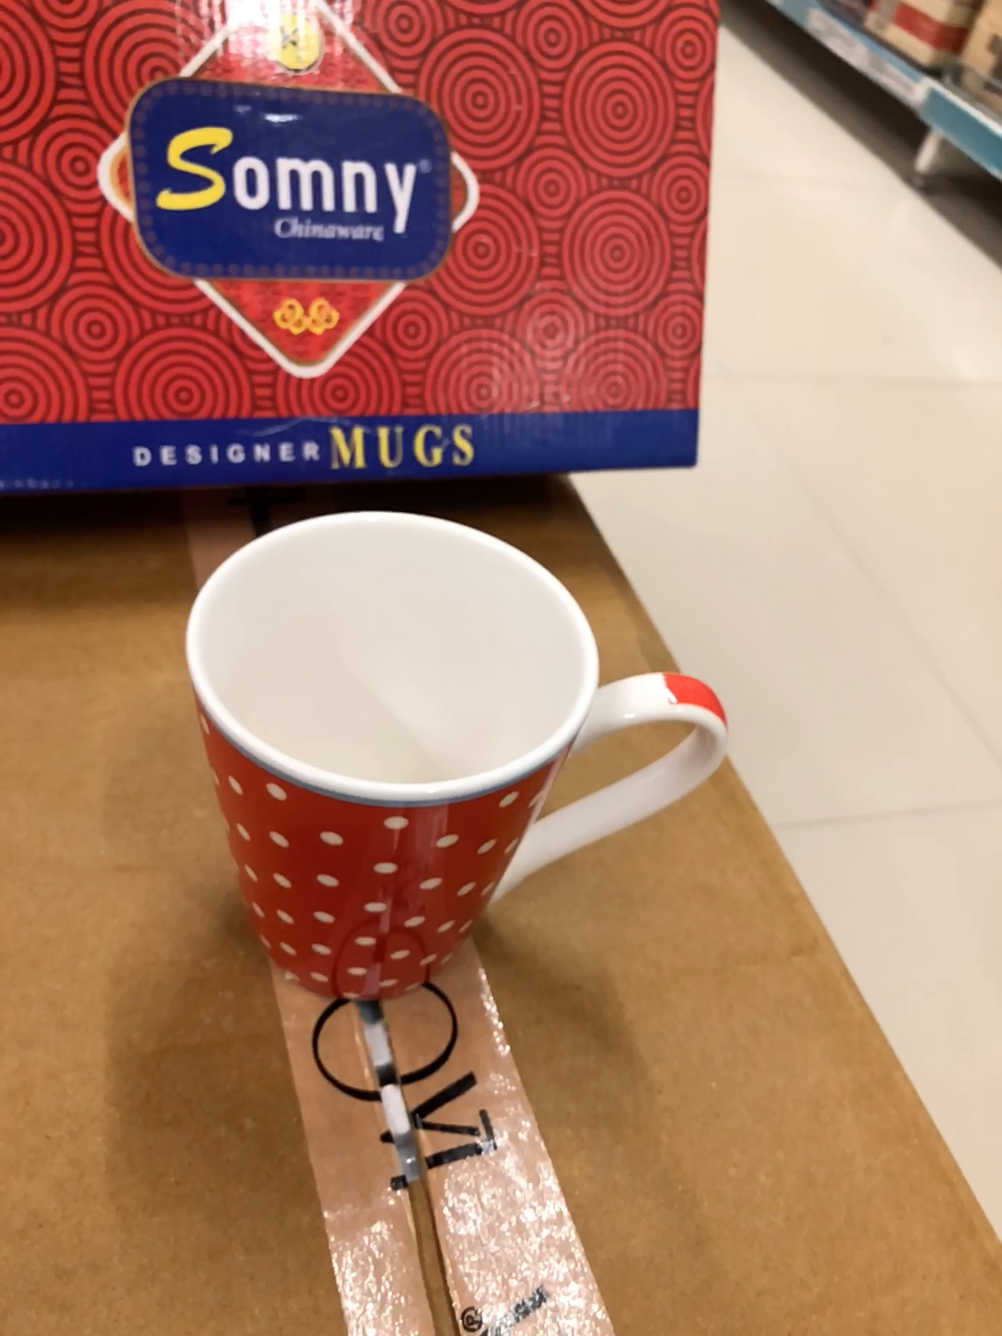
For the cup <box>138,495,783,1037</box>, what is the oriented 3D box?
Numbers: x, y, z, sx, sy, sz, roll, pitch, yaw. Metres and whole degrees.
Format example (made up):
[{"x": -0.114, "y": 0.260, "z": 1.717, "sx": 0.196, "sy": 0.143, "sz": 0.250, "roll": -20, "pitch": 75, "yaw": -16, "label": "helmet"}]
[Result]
[{"x": -0.017, "y": 0.022, "z": 0.263, "sx": 0.120, "sy": 0.089, "sz": 0.080, "roll": 0, "pitch": 44, "yaw": -14, "label": "cup"}]
